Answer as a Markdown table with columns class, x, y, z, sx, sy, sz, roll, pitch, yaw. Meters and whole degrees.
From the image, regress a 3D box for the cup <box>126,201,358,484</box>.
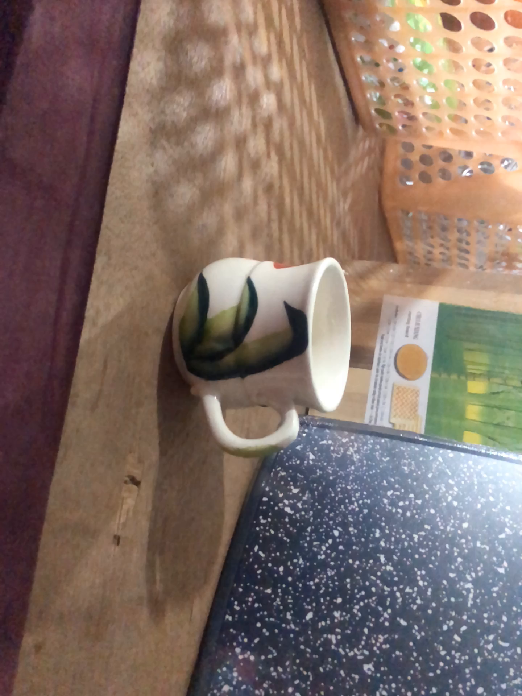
| class | x | y | z | sx | sy | sz | roll | pitch | yaw |
| --- | --- | --- | --- | --- | --- | --- | --- | --- | --- |
| cup | -0.001 | 0.000 | 0.228 | 0.060 | 0.060 | 0.090 | 49 | 46 | -60 |
